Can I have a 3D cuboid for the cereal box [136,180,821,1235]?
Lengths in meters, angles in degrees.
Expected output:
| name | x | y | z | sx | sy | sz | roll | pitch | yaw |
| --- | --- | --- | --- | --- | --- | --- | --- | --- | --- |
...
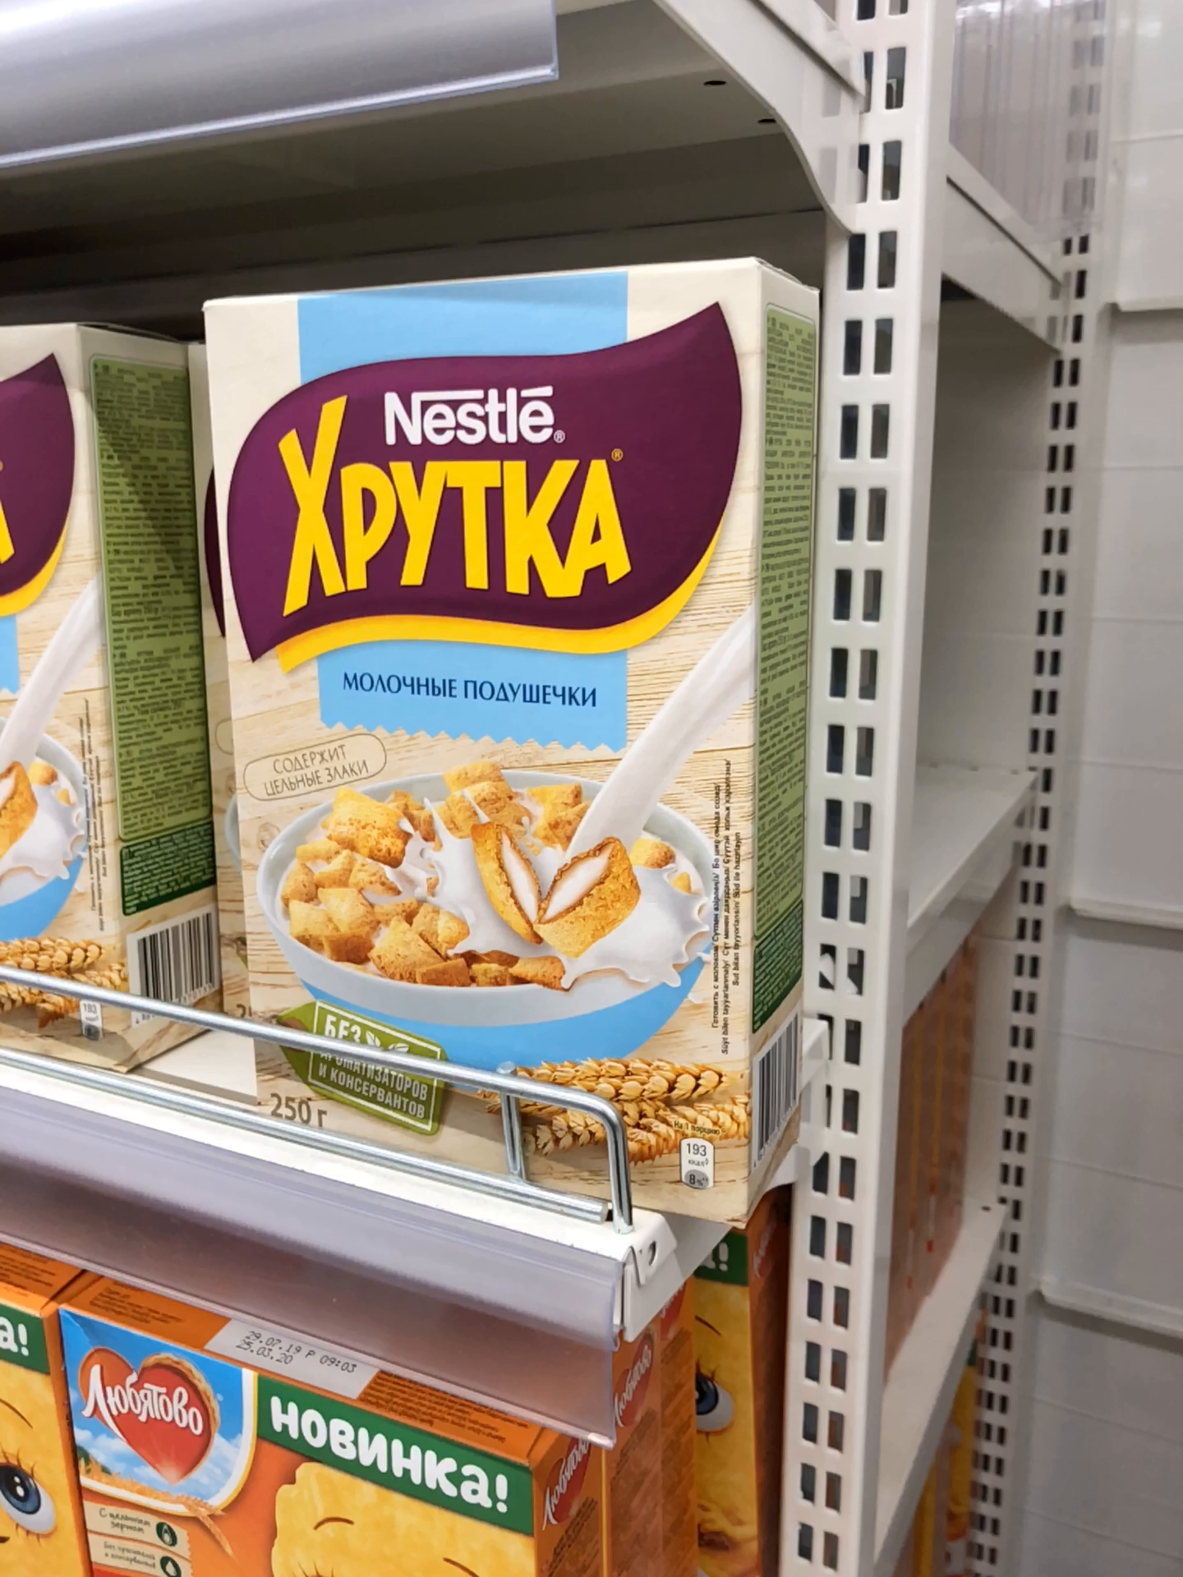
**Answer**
| name | x | y | z | sx | sy | sz | roll | pitch | yaw |
| --- | --- | --- | --- | --- | --- | --- | --- | --- | --- |
| cereal box | -0.027 | -0.019 | 0.323 | 0.150 | 0.219 | 0.050 | 5 | 13 | 23 |
